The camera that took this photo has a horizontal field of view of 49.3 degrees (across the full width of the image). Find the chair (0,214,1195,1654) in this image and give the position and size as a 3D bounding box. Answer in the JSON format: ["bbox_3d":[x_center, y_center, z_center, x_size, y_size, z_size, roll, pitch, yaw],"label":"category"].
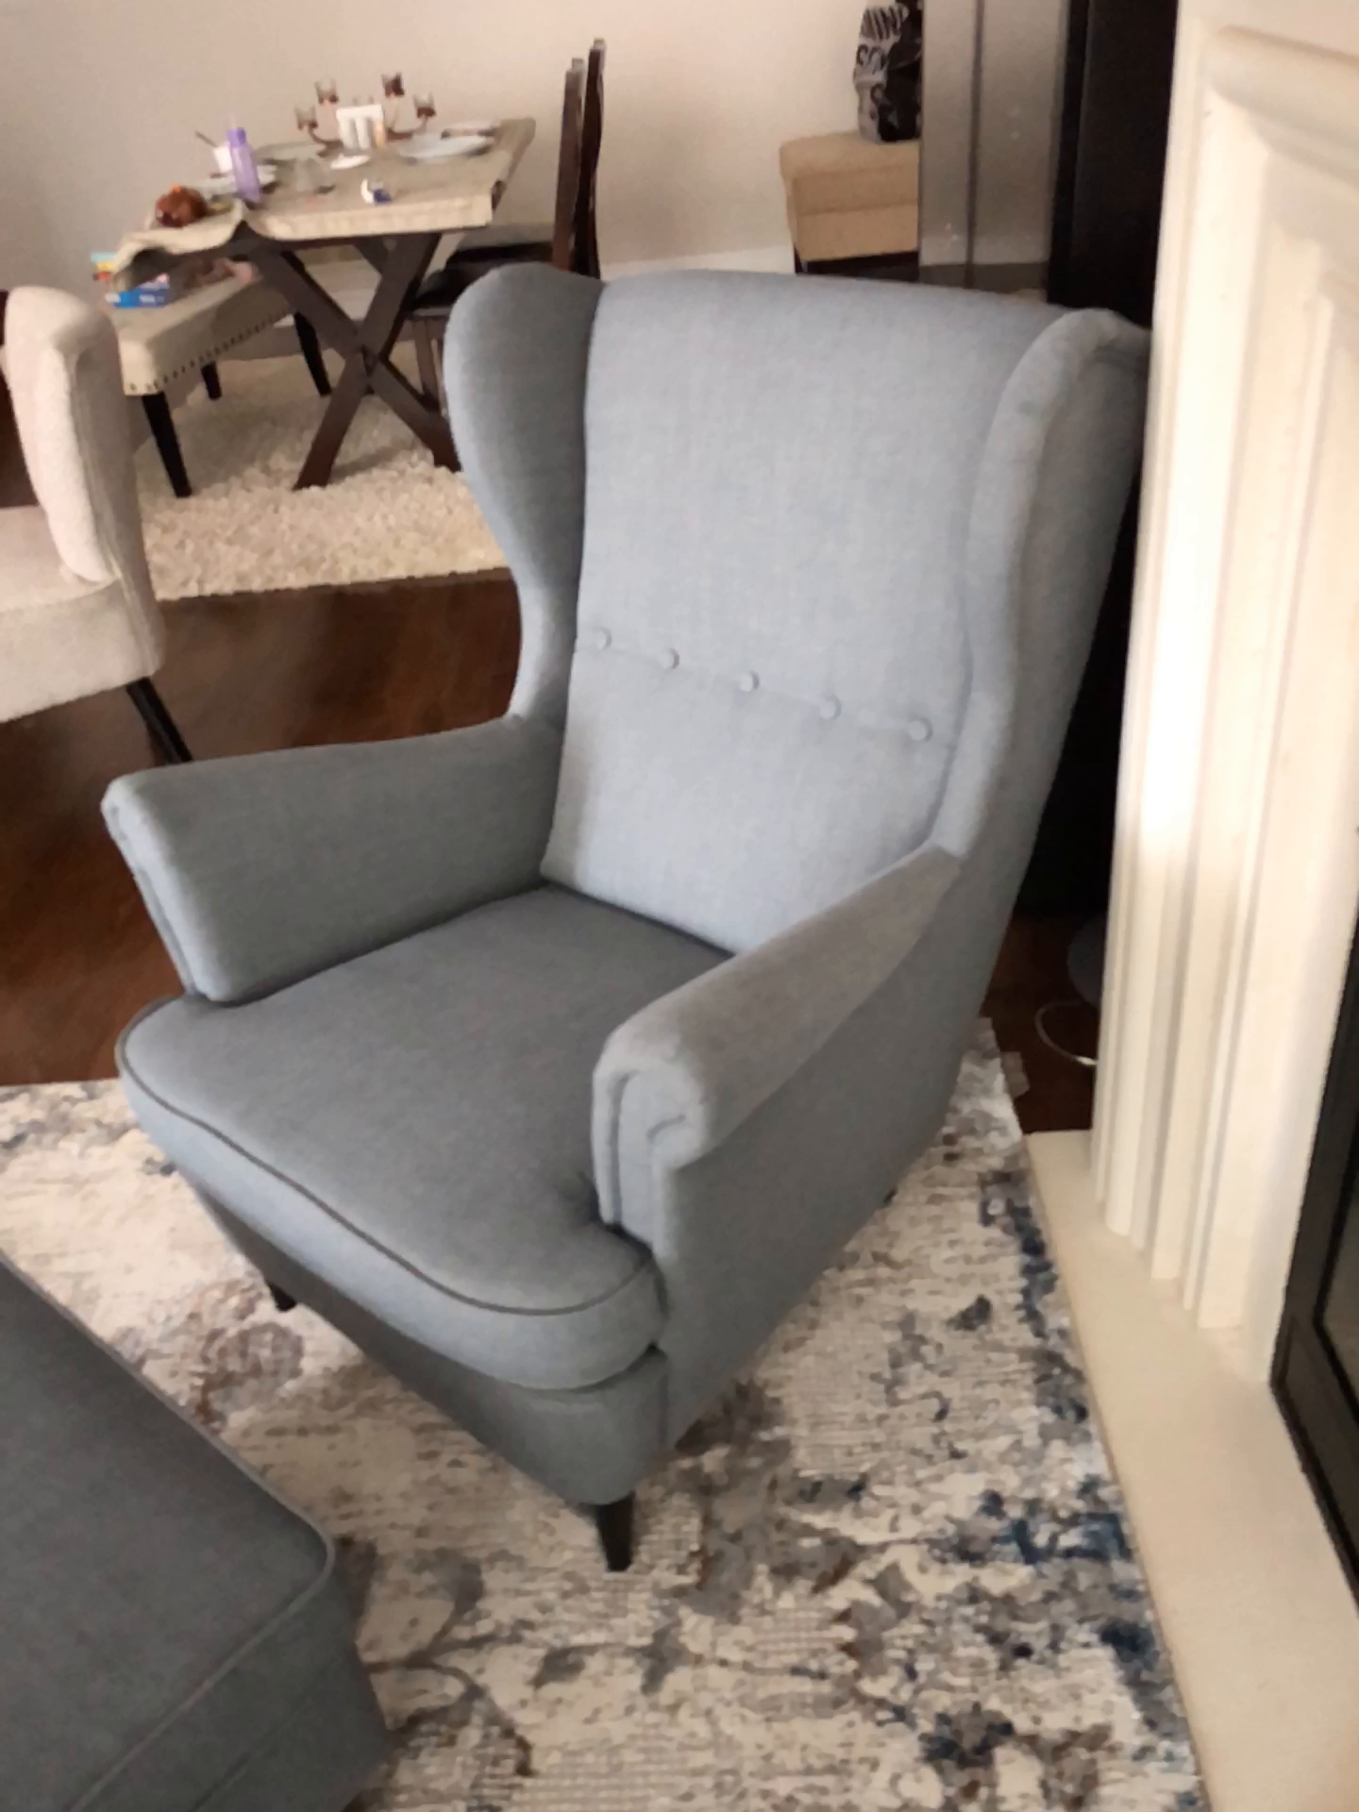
[{"bbox_3d":[-0.091,-0.079,1.497,0.801,0.966,0.852,21,42,35],"label":"chair"}]
